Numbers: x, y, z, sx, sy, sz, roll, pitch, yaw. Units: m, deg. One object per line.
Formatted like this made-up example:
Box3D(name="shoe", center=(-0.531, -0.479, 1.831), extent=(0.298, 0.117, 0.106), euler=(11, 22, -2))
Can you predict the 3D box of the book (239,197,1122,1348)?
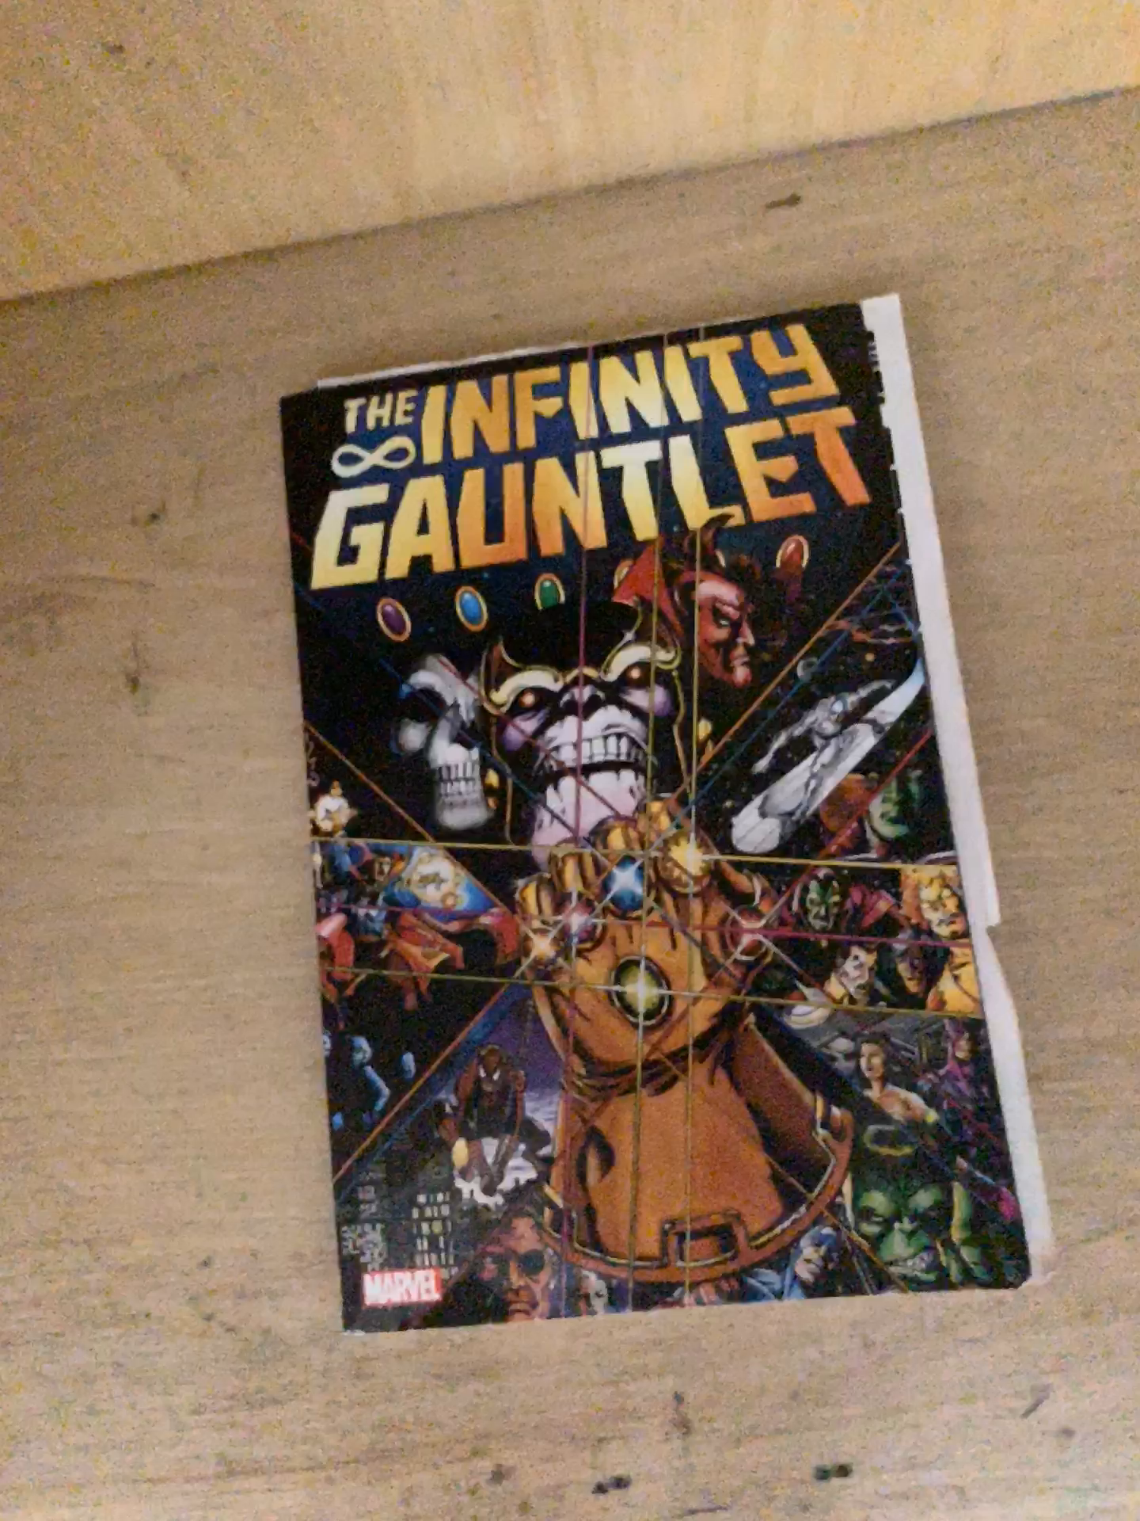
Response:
Box3D(name="book", center=(0.015, -0.001, 0.312), extent=(0.190, 0.030, 0.270), euler=(-7, 78, 7))
